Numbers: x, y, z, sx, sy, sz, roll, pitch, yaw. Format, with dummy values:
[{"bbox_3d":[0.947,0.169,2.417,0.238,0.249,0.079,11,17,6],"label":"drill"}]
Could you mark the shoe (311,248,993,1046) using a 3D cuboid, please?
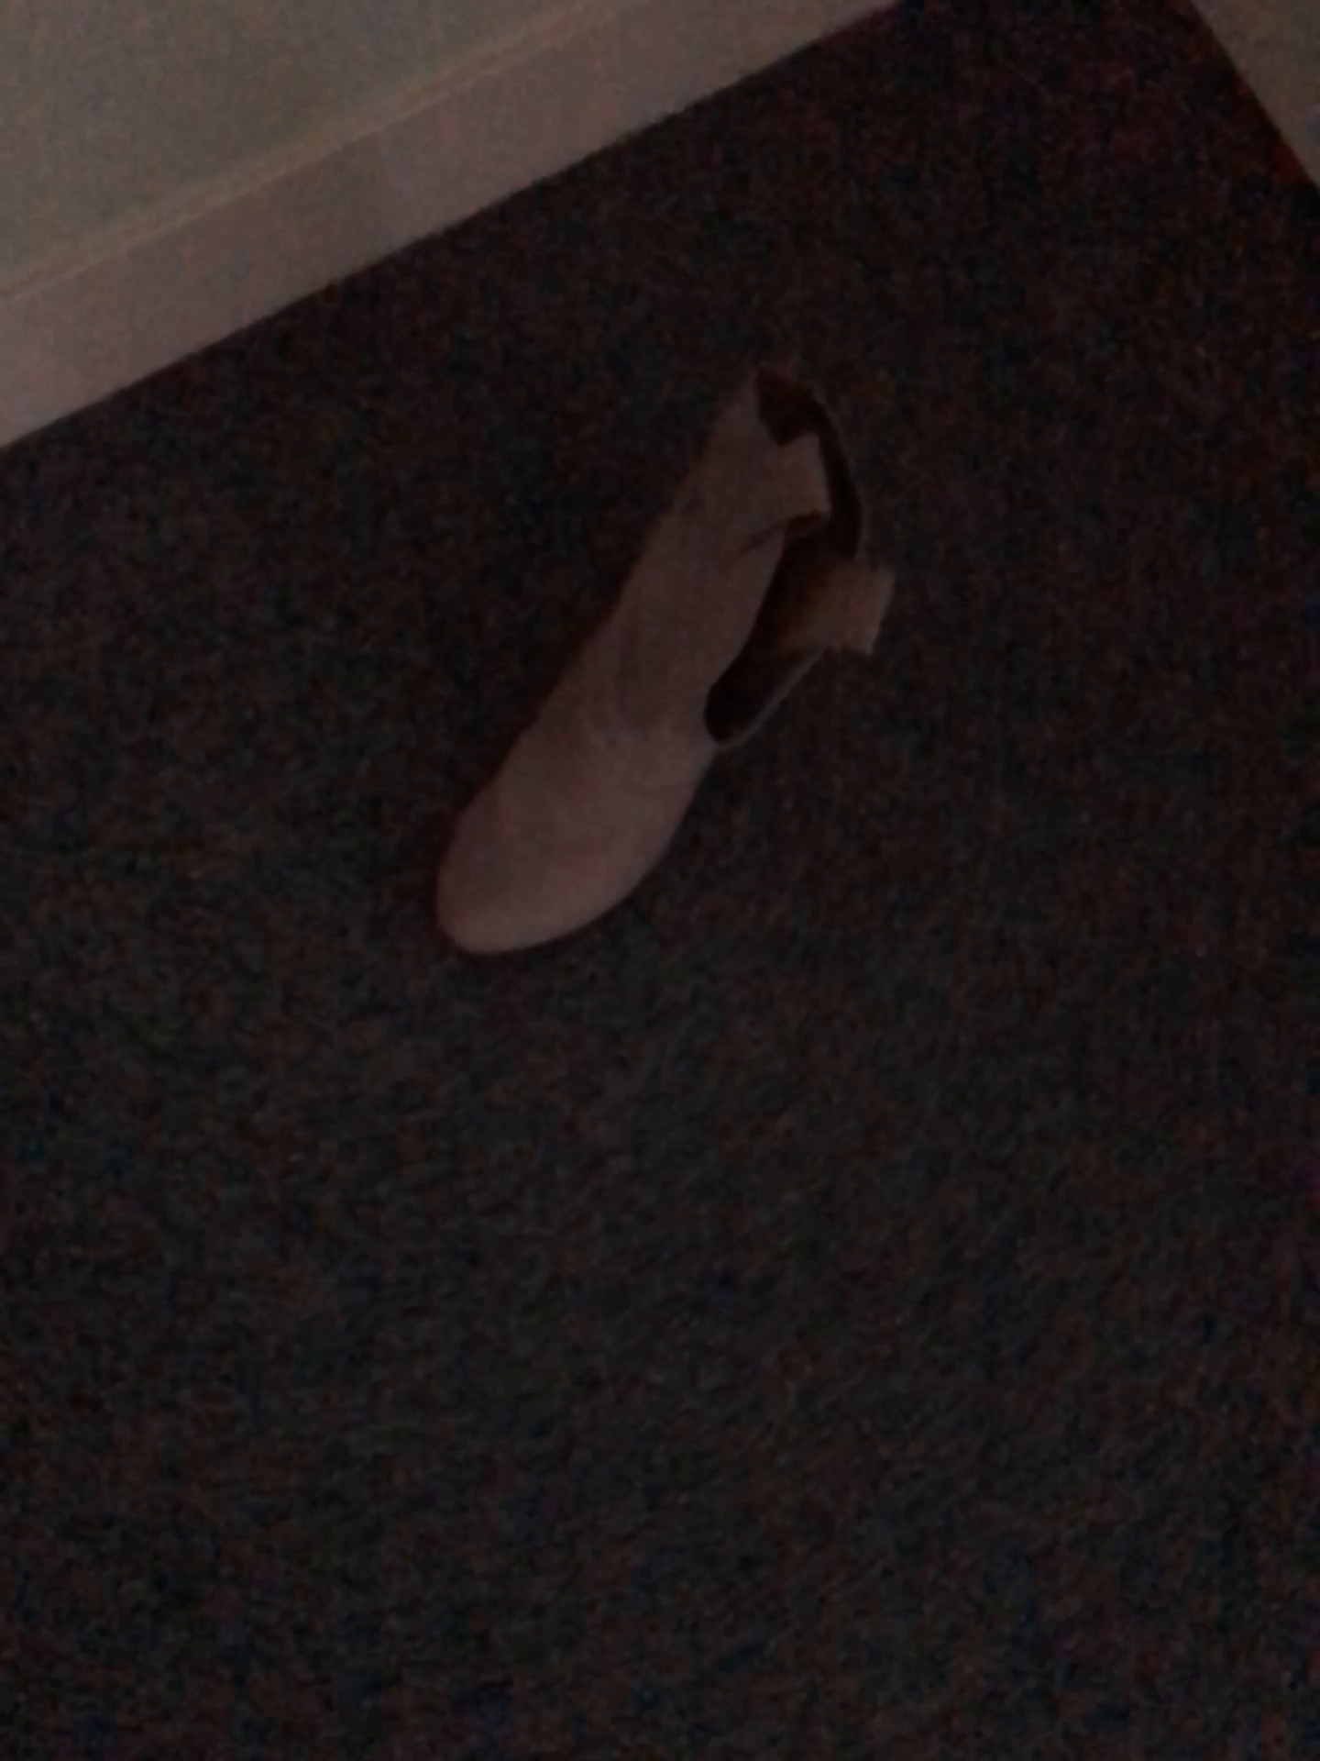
[{"bbox_3d":[-0.004,-0.075,0.614,0.130,0.220,0.240,31,79,3],"label":"shoe"}]
